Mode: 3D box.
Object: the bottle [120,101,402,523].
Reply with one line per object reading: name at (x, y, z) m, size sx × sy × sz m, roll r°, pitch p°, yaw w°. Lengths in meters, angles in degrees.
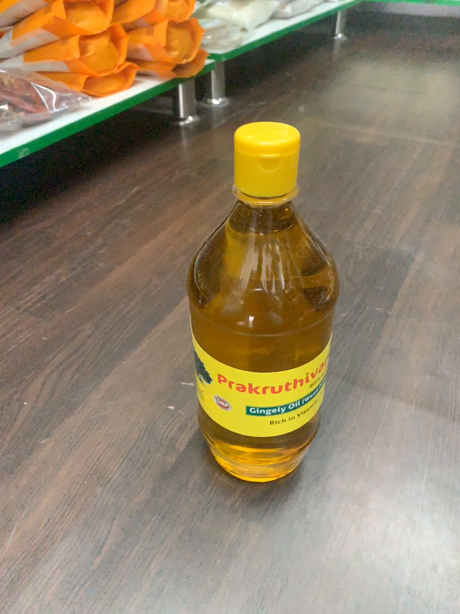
bottle at (0.014, 0.011, 0.282) m, size 0.090 × 0.219 × 0.090 m, roll -1°, pitch 39°, yaw 1°
